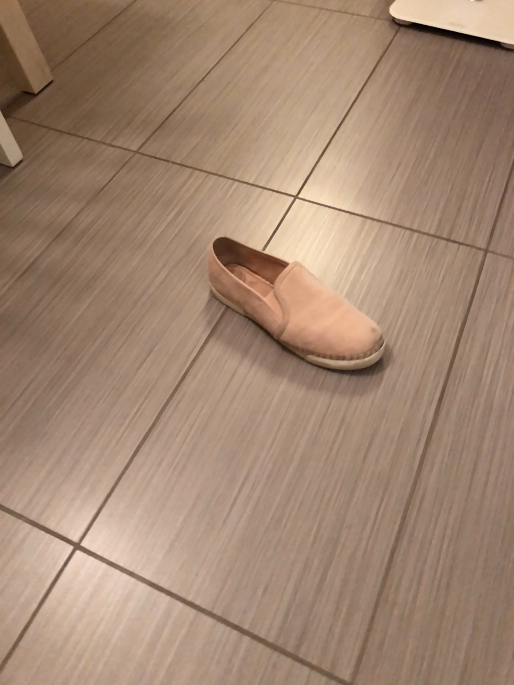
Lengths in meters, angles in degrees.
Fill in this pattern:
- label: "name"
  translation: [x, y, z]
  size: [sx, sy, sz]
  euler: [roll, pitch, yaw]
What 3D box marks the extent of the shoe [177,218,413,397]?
- label: "shoe"
  translation: [0.043, -0.052, 0.719]
  size: [0.270, 0.070, 0.110]
  euler: [27, 60, 20]
